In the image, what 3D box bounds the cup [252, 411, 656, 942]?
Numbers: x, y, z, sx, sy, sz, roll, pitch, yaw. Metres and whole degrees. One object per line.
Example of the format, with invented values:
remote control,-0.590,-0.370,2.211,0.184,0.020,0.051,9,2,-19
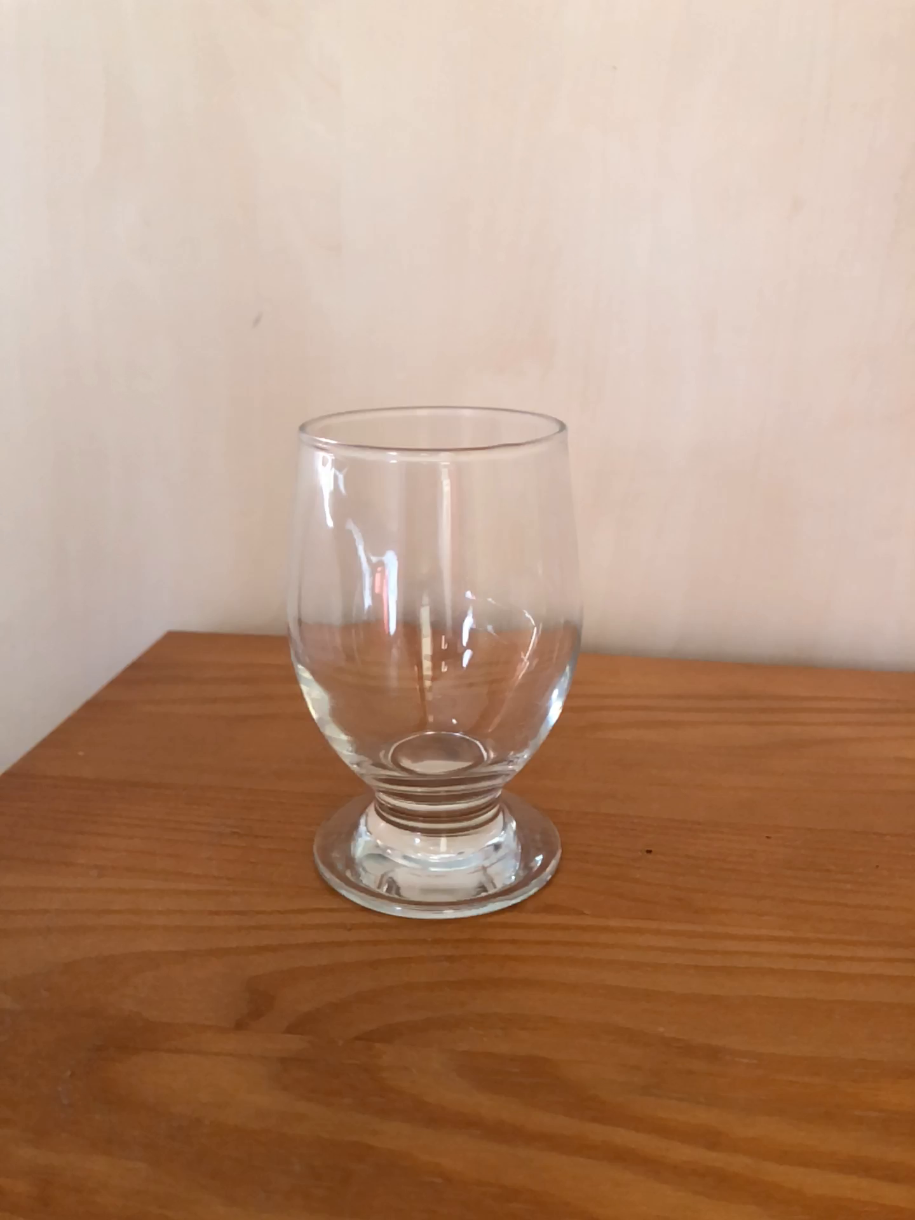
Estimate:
cup,-0.008,0.009,0.260,0.078,0.107,0.082,2,18,-1
